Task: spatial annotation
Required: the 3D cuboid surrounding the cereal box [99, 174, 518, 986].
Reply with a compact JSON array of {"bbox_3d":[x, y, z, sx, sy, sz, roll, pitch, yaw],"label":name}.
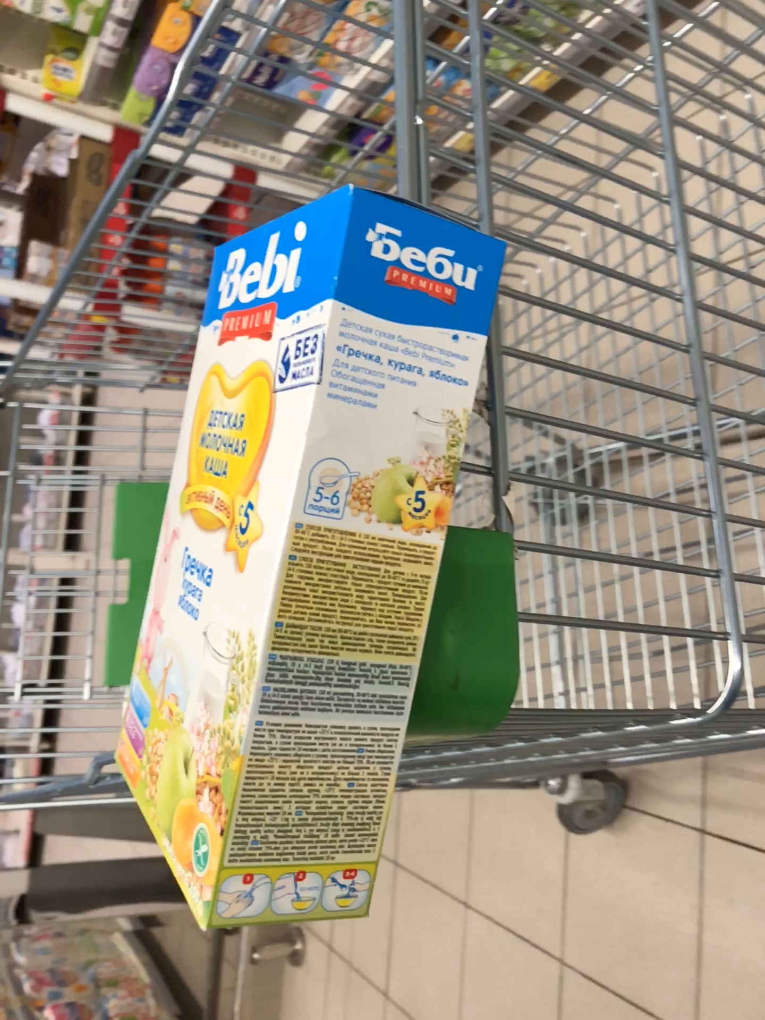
[{"bbox_3d":[-0.039,0.014,0.286,0.141,0.050,0.210,17,95,62],"label":"cereal box"}]
